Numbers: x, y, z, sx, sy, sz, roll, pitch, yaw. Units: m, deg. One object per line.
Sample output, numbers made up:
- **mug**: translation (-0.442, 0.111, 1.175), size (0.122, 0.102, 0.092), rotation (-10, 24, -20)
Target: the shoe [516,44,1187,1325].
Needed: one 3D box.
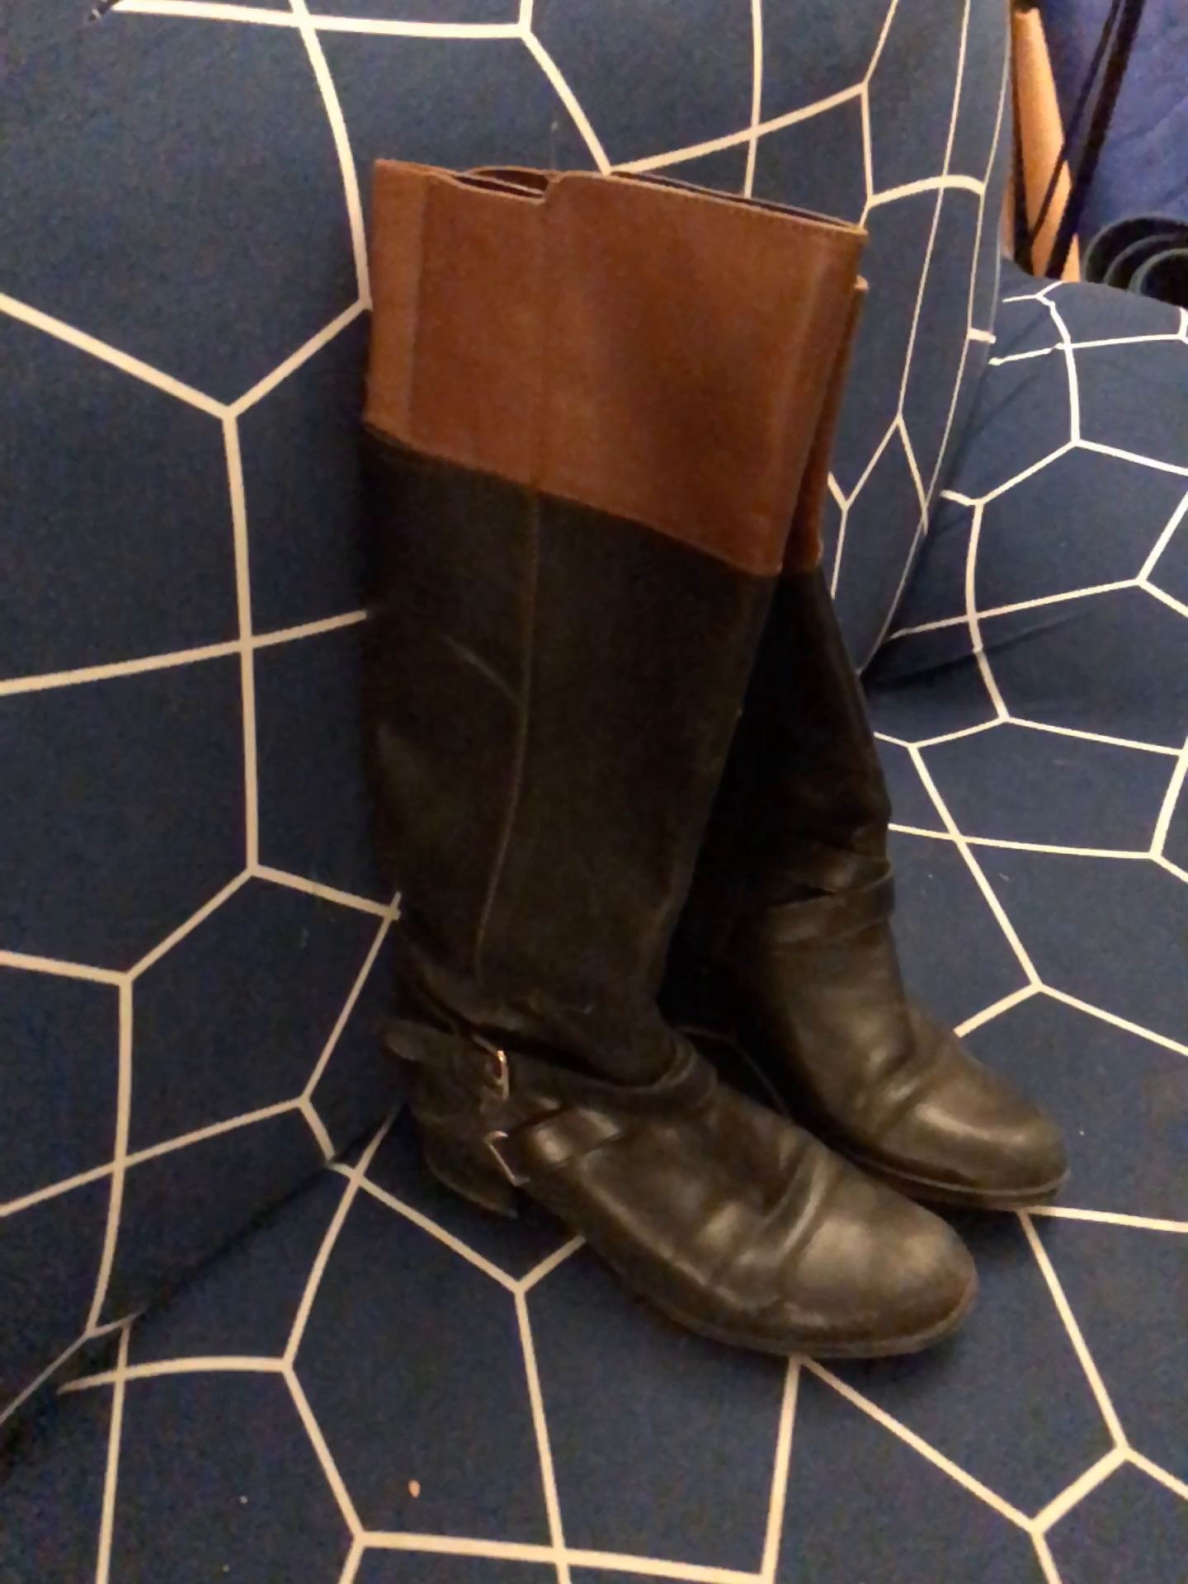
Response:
- **shoe**: translation (0.097, -0.015, 0.462), size (0.100, 0.378, 0.251), rotation (-32, 54, -28)

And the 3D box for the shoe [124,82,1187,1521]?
- **shoe**: translation (0.019, 0.032, 0.442), size (0.271, 0.428, 0.110), rotation (30, 50, 27)
